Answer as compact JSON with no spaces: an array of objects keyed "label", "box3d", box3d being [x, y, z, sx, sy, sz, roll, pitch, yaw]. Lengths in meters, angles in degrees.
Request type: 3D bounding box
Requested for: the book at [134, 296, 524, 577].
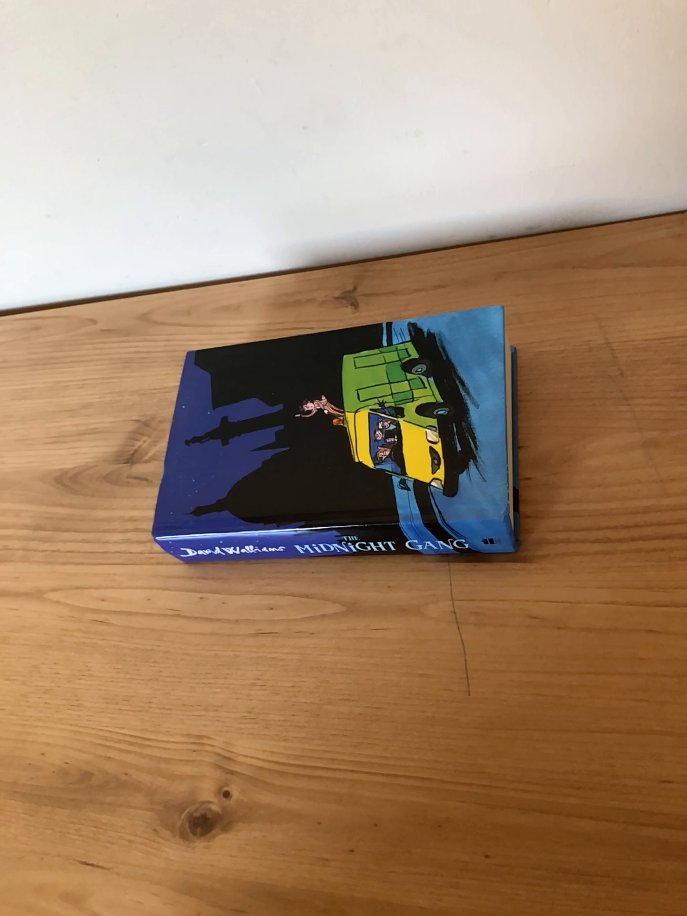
[{"label":"book","box3d":[-0.007,-0.008,0.505,0.237,0.060,0.153,-6,62,21]}]
